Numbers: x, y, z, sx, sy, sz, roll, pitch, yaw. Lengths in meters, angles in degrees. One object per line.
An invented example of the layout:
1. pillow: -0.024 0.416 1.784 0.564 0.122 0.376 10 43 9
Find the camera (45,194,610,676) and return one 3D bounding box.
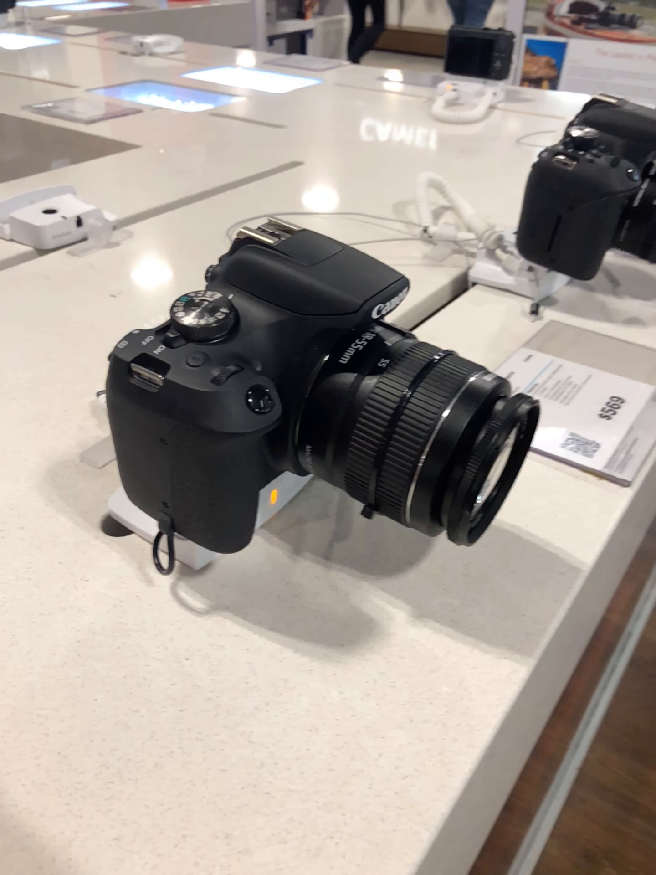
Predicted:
1. camera: 0.005 -0.019 0.285 0.150 0.089 0.141 21 40 26
